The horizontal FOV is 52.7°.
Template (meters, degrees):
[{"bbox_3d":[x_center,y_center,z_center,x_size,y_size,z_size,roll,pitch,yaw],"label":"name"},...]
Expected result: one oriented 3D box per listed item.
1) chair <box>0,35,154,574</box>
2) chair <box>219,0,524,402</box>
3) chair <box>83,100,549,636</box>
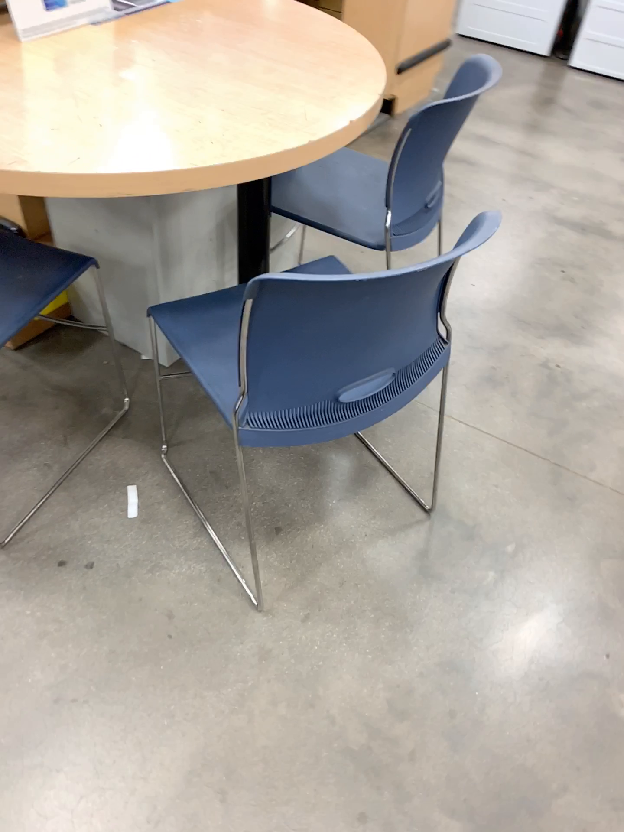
[{"bbox_3d":[-0.701,-0.207,1.215,0.483,0.729,0.574,19,46,11],"label":"chair"},{"bbox_3d":[0.119,-0.540,1.614,0.531,0.749,0.486,20,47,12],"label":"chair"},{"bbox_3d":[-0.043,-0.091,1.223,0.484,0.749,0.553,-23,53,-27],"label":"chair"}]
